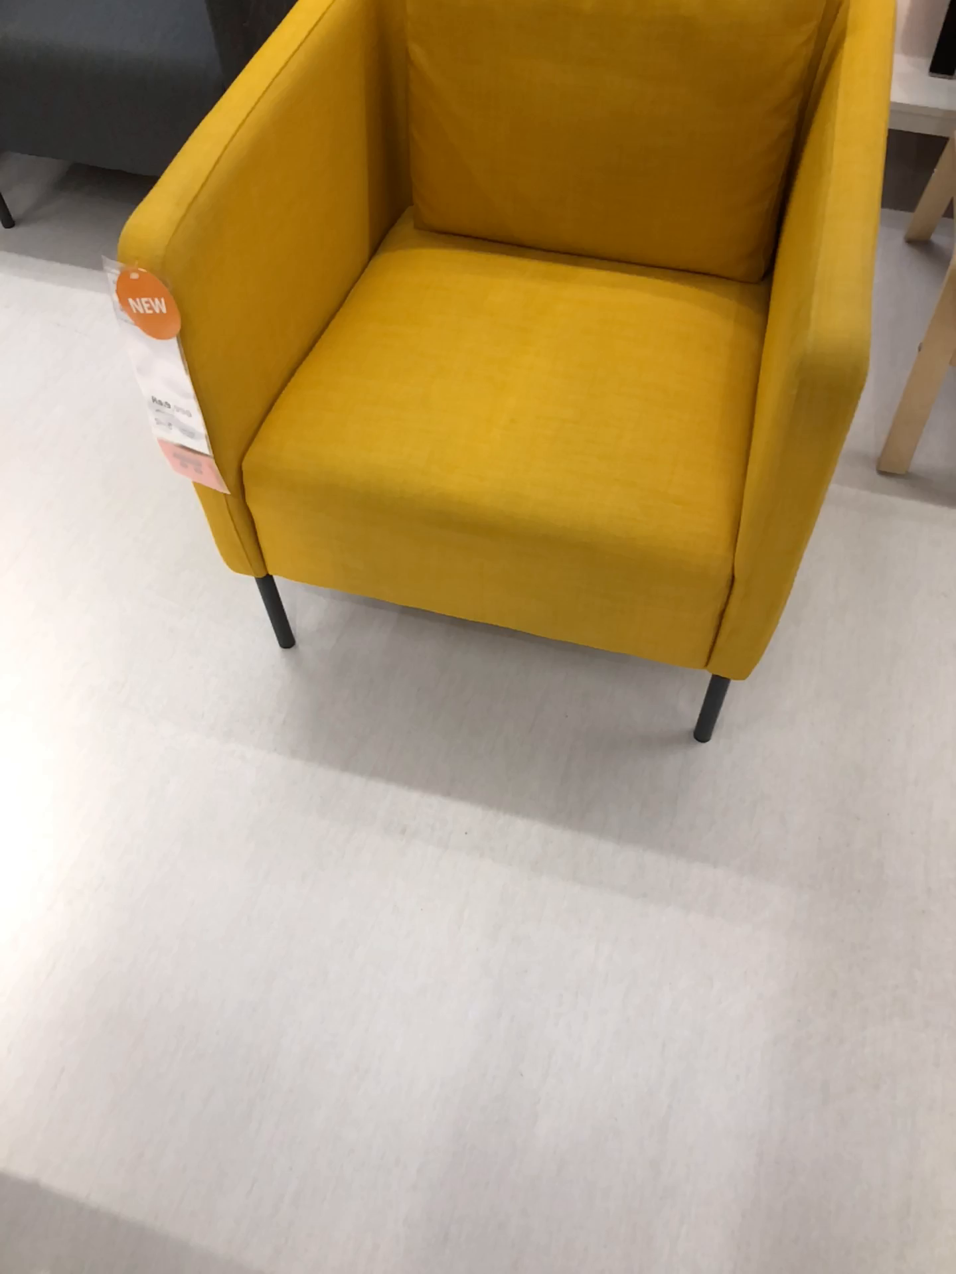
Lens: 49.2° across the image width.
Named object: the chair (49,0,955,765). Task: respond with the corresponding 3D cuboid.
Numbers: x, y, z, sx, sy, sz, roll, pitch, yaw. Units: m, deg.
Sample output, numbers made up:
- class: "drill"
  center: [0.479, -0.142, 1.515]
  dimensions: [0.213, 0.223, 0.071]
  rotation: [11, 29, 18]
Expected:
- class: "chair"
  center: [0.093, -0.377, 1.258]
  dimensions: [0.720, 0.696, 0.663]
  rotation: [13, 57, 10]
